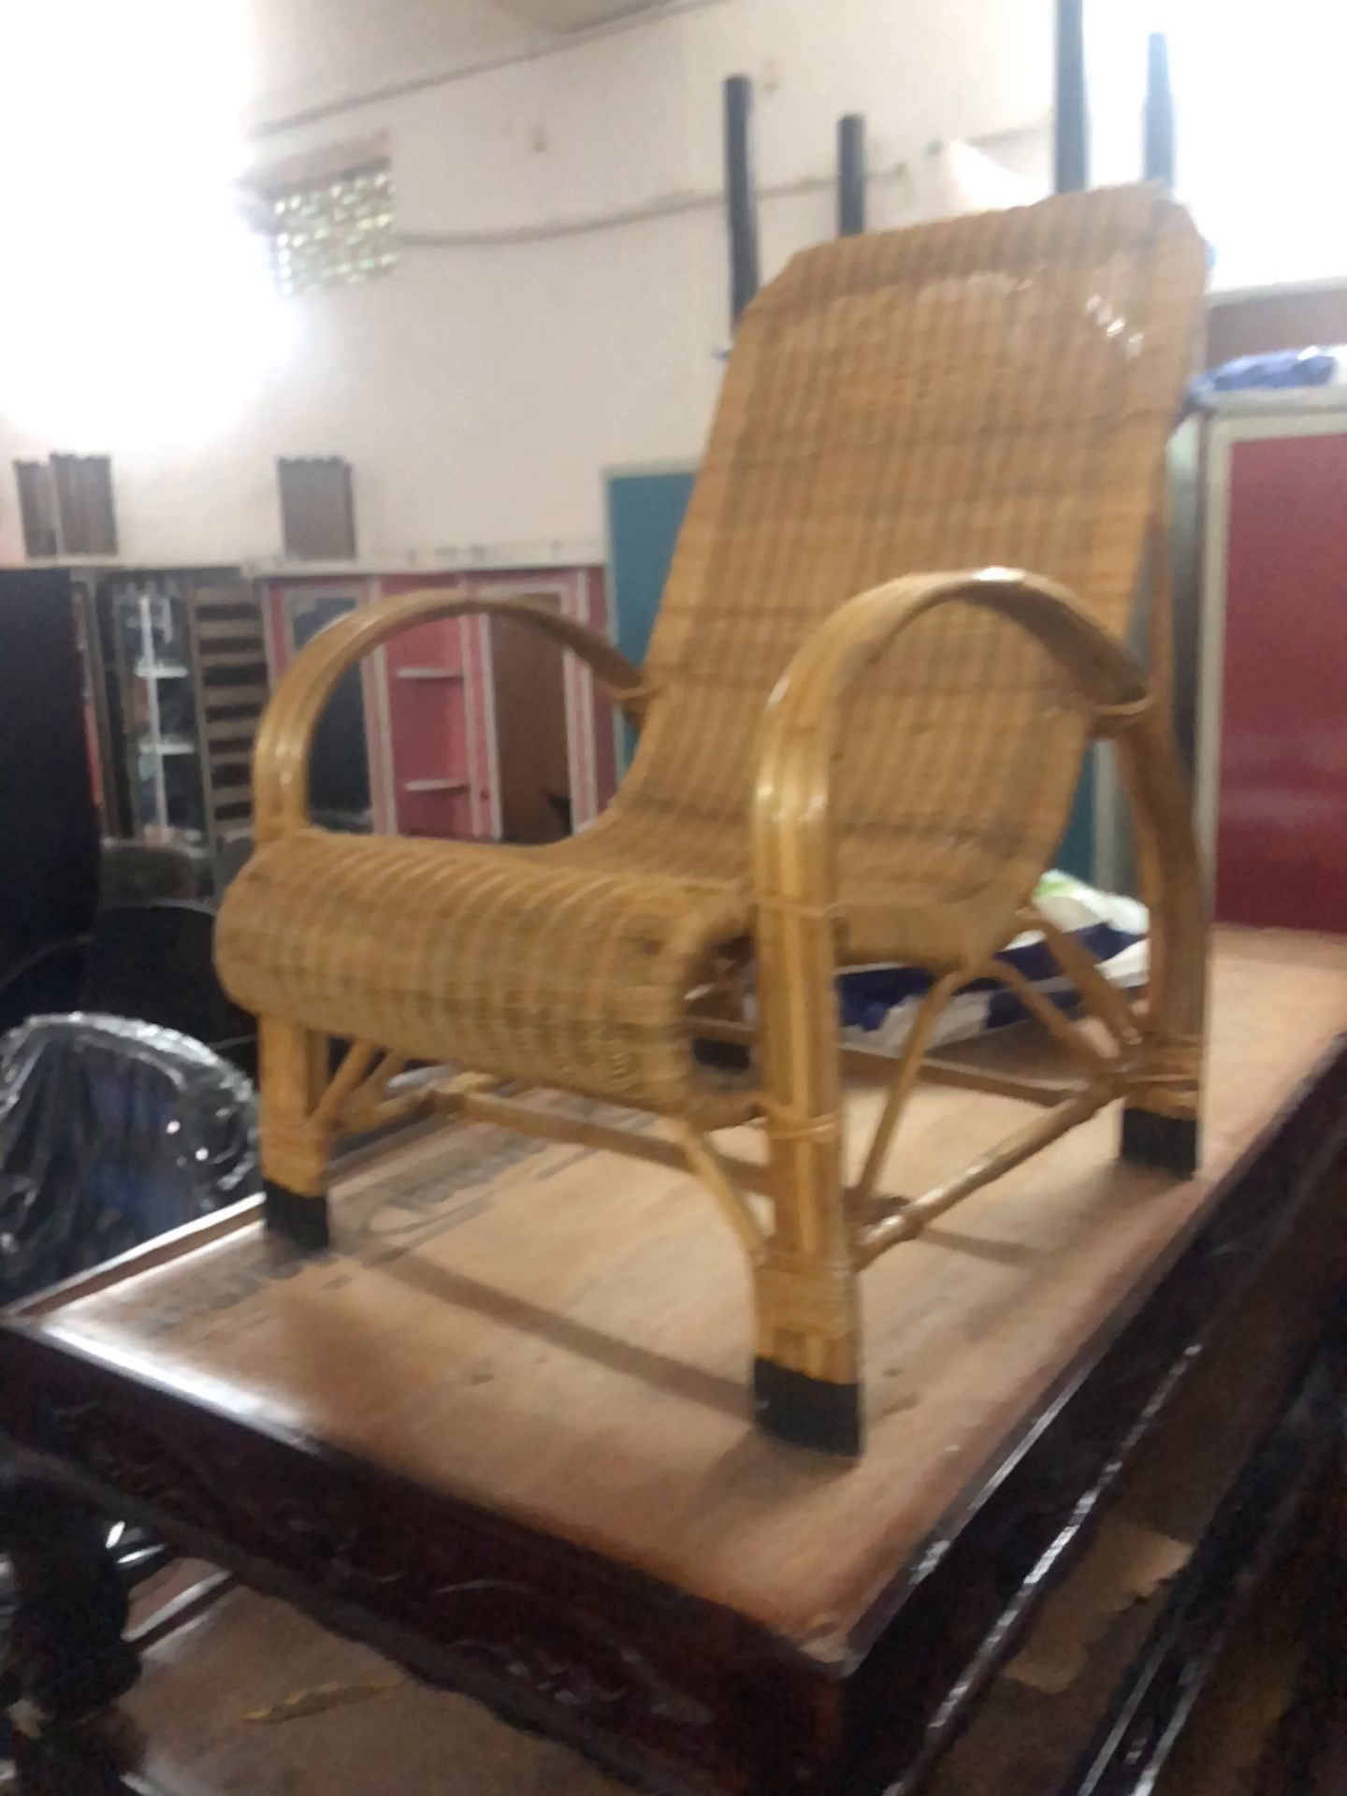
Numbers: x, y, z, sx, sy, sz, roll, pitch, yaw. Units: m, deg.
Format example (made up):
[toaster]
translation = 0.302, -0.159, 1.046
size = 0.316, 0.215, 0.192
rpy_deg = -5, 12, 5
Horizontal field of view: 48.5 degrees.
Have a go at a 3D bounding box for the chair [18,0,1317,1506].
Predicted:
[chair]
translation = 0.046, -0.227, 1.374
size = 0.769, 0.997, 0.823
rpy_deg = 7, 14, 38
